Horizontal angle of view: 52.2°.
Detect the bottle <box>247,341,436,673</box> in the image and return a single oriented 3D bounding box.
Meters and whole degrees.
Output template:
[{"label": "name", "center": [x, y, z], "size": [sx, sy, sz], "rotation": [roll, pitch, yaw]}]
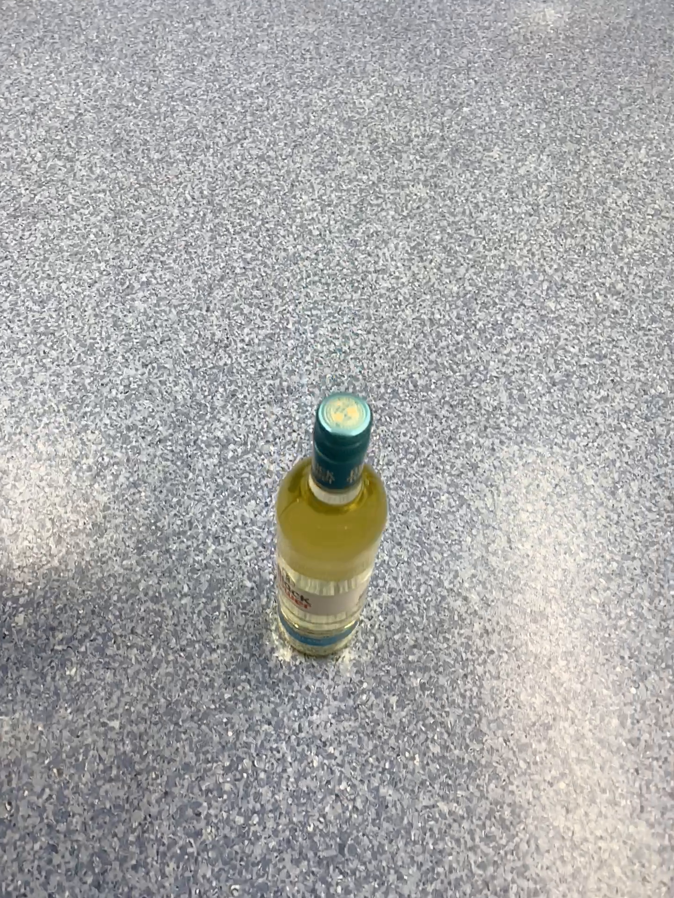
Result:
[{"label": "bottle", "center": [-0.008, 0.065, 0.474], "size": [0.065, 0.306, 0.071], "rotation": [2, 57, -3]}]
